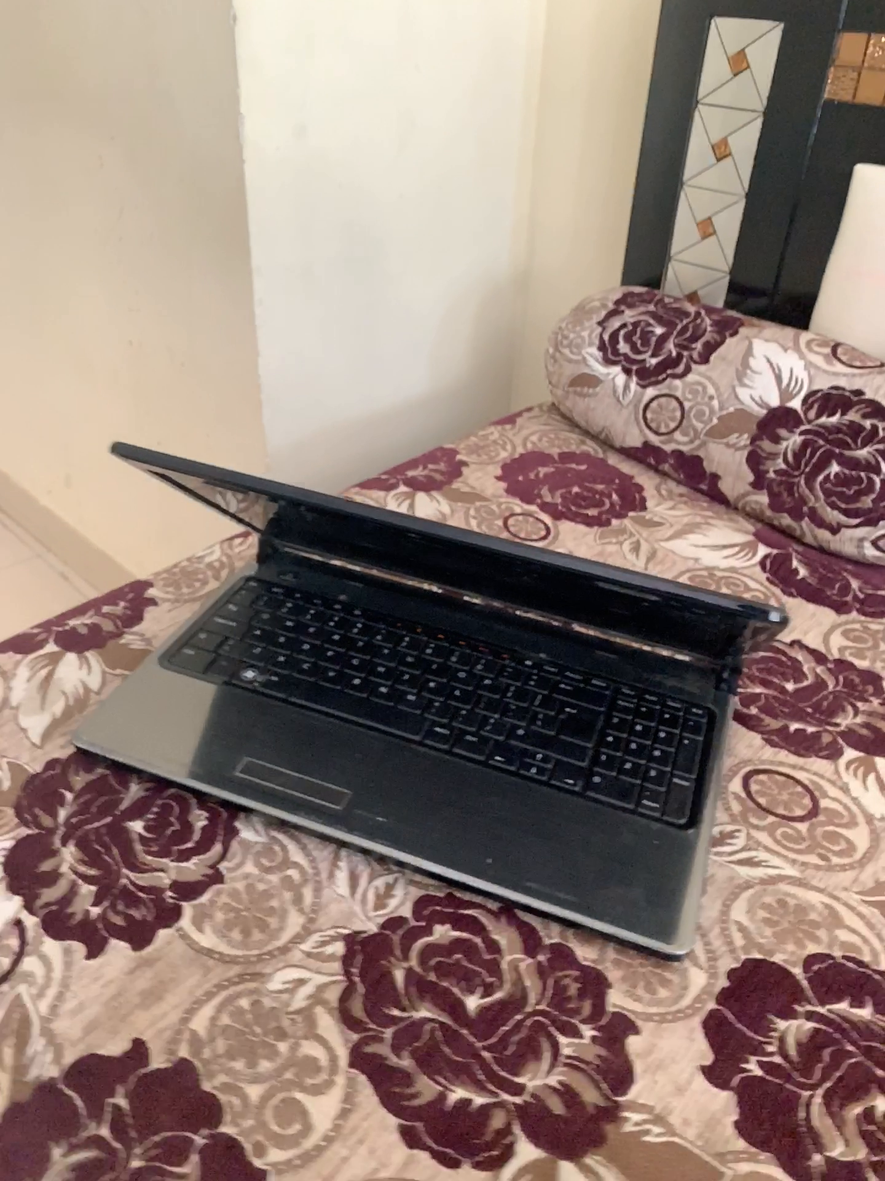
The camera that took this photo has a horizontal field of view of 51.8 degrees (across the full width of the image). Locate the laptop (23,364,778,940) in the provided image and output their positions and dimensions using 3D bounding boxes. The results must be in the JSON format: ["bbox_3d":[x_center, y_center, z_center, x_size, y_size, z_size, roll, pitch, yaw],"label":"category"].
[{"bbox_3d":[-0.011,0.007,0.547,0.363,0.154,0.222,14,36,16],"label":"laptop"}]
